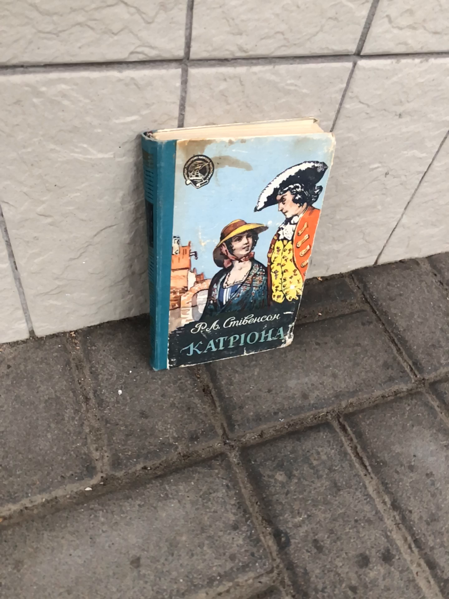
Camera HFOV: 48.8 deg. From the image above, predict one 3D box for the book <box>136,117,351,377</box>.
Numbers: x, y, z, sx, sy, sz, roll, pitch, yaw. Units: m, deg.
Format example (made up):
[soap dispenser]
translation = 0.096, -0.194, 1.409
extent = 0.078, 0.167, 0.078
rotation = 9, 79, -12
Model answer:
[book]
translation = 0.008, -0.032, 0.370
extent = 0.134, 0.189, 0.030
rotation = -9, 40, -18
